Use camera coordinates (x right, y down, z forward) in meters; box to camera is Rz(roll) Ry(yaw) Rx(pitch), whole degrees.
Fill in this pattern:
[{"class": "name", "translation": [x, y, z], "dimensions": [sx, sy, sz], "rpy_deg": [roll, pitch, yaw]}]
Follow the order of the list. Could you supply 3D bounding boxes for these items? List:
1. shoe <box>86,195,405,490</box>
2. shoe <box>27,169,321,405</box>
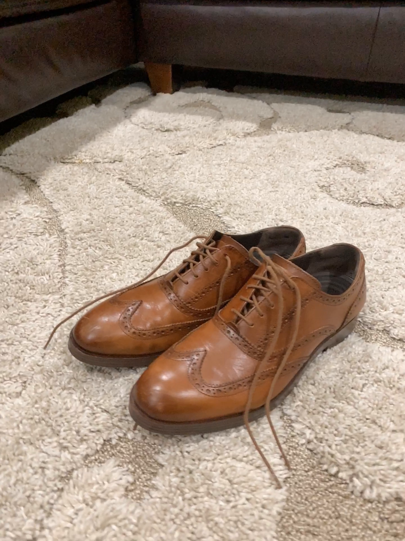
[{"class": "shoe", "translation": [0.052, 0.048, 0.400], "dimensions": [0.281, 0.131, 0.105], "rpy_deg": [-26, 44, -29]}, {"class": "shoe", "translation": [-0.019, 0.003, 0.460], "dimensions": [0.283, 0.131, 0.105], "rpy_deg": [-23, 43, -25]}]
